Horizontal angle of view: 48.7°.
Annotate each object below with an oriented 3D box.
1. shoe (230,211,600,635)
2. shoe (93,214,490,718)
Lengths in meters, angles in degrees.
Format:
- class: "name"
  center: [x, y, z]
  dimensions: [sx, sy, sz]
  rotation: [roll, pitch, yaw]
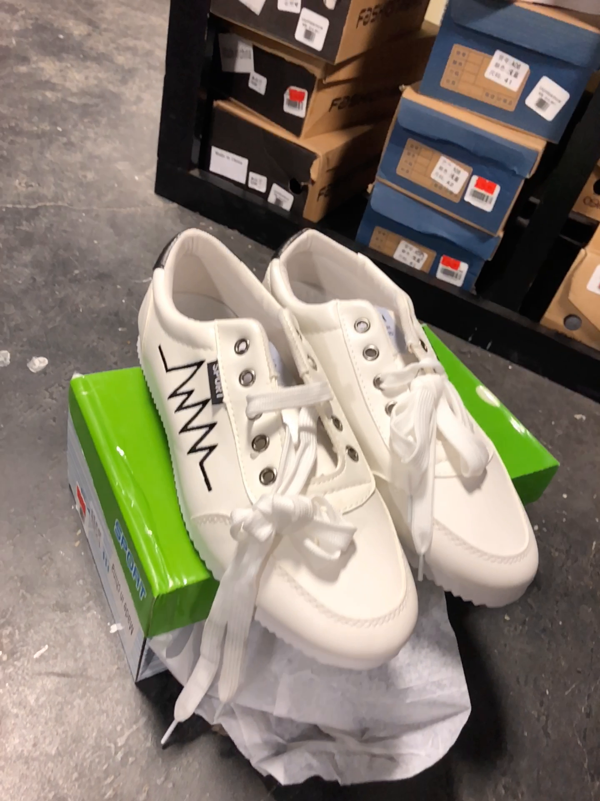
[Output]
- class: "shoe"
  center: [0.054, -0.010, 0.421]
  dimensions: [0.090, 0.079, 0.282]
  rotation: [-14, 49, -24]
- class: "shoe"
  center: [-0.030, 0.007, 0.368]
  dimensions: [0.090, 0.079, 0.282]
  rotation: [-14, 49, -24]
